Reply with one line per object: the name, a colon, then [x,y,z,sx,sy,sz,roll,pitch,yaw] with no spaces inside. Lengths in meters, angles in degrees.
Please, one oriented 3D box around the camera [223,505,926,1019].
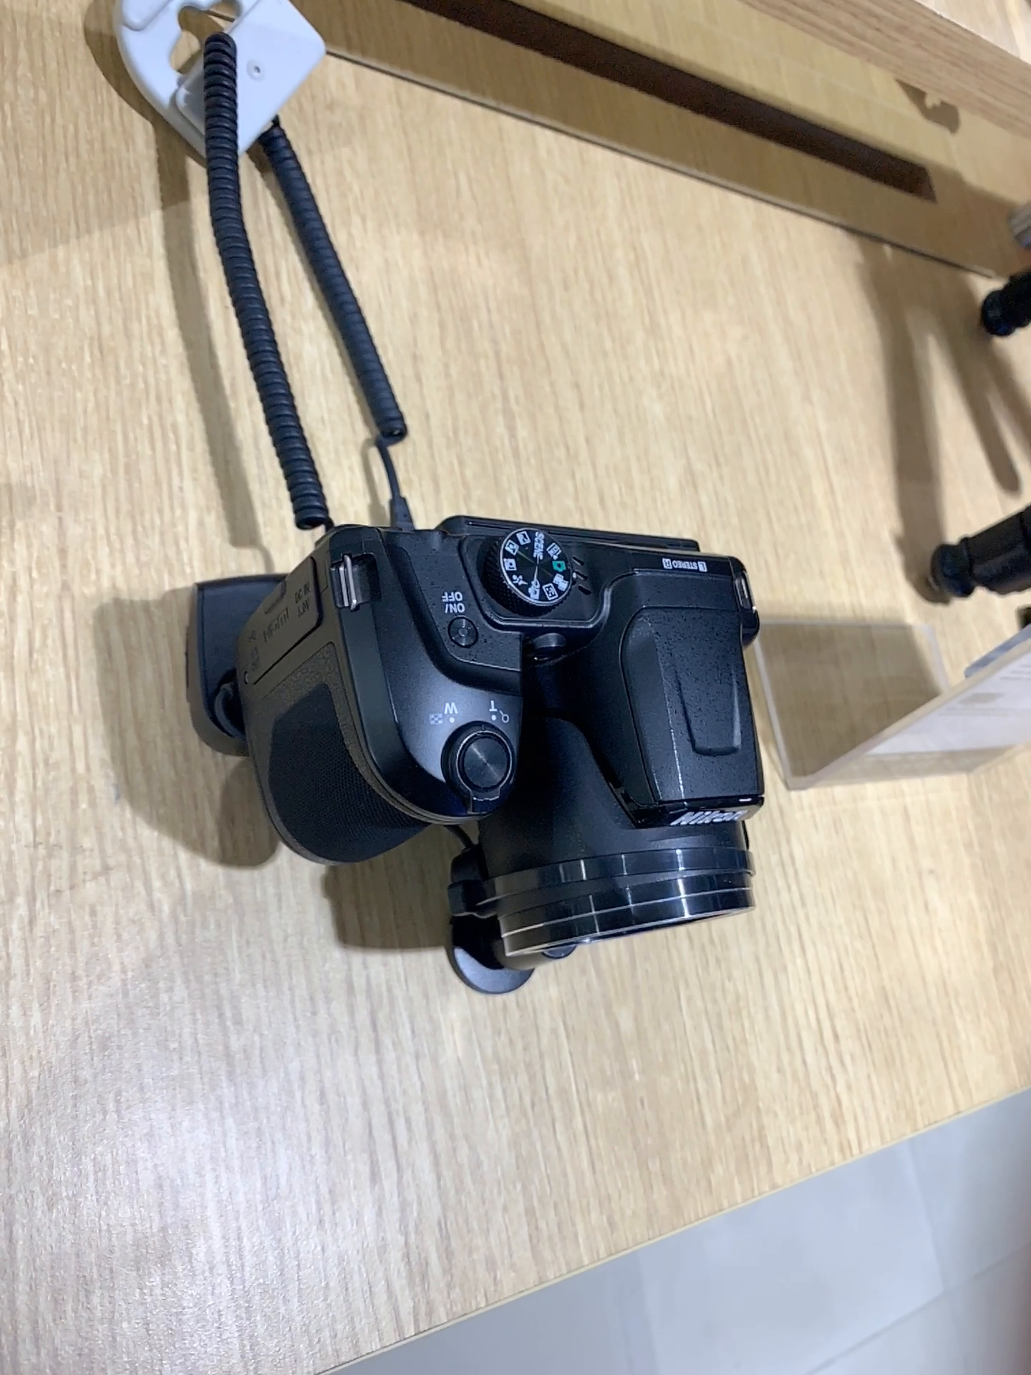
camera: [0.012,0.016,0.231,0.120,0.070,0.080,-2,74,-34]
